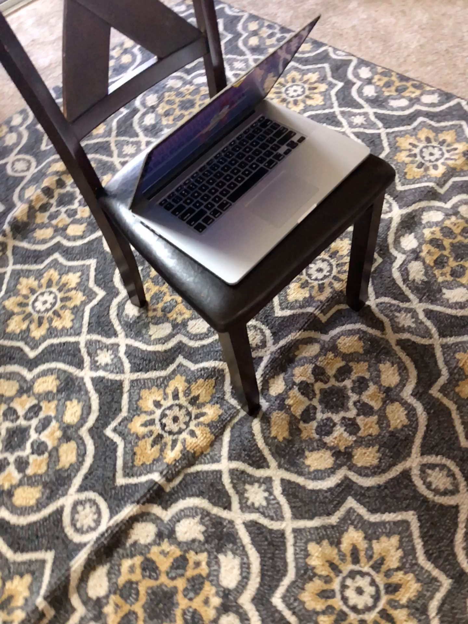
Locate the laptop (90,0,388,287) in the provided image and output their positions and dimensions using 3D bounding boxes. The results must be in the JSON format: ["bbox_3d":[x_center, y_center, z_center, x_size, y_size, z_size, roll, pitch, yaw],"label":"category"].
[{"bbox_3d":[0.018,-0.272,0.781,0.237,0.200,0.351,36,69,25],"label":"laptop"}]
